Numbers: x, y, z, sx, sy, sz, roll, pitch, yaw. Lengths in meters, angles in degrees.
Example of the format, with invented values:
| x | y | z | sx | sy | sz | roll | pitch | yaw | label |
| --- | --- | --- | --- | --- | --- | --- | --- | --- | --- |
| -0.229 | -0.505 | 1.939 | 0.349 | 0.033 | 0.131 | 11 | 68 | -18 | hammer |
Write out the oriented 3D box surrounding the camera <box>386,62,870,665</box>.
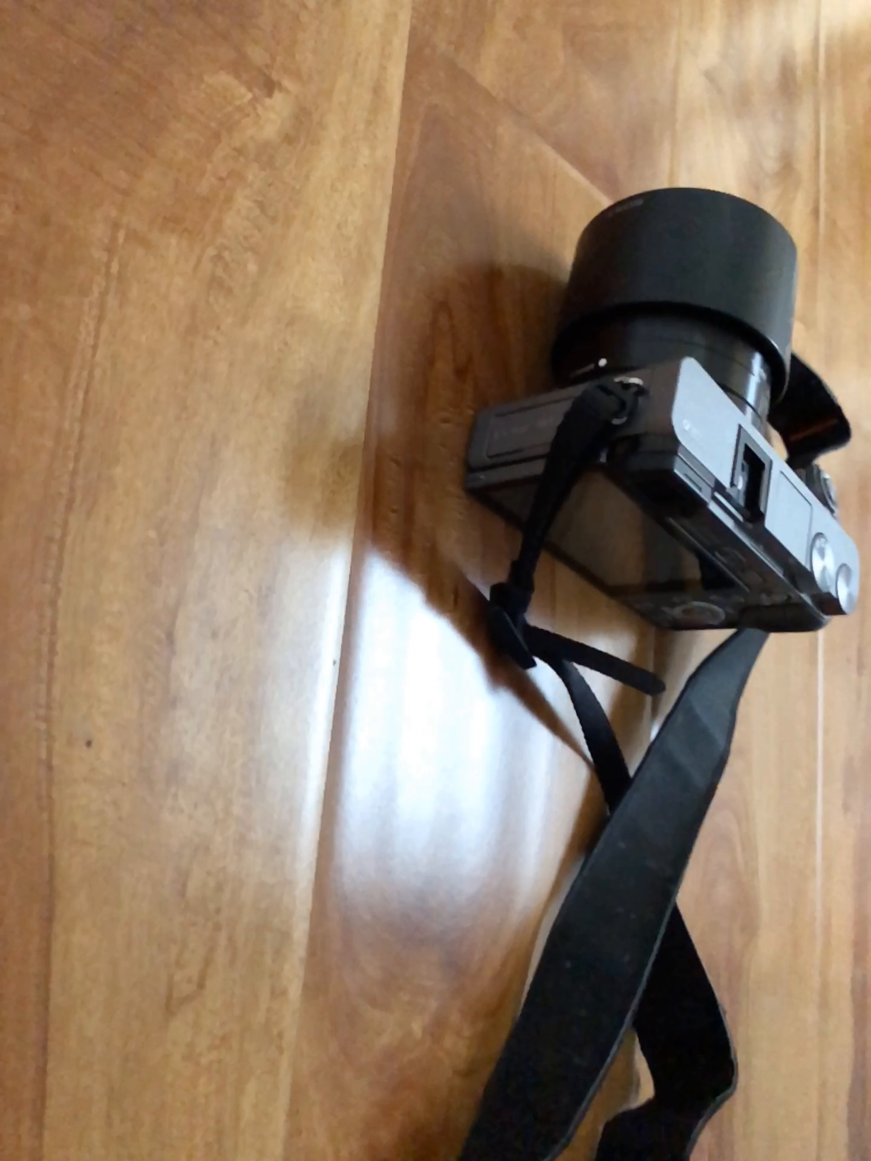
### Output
| x | y | z | sx | sy | sz | roll | pitch | yaw | label |
| --- | --- | --- | --- | --- | --- | --- | --- | --- | --- |
| 0.073 | -0.051 | 0.301 | 0.141 | 0.080 | 0.110 | 31 | 62 | -40 | camera |
